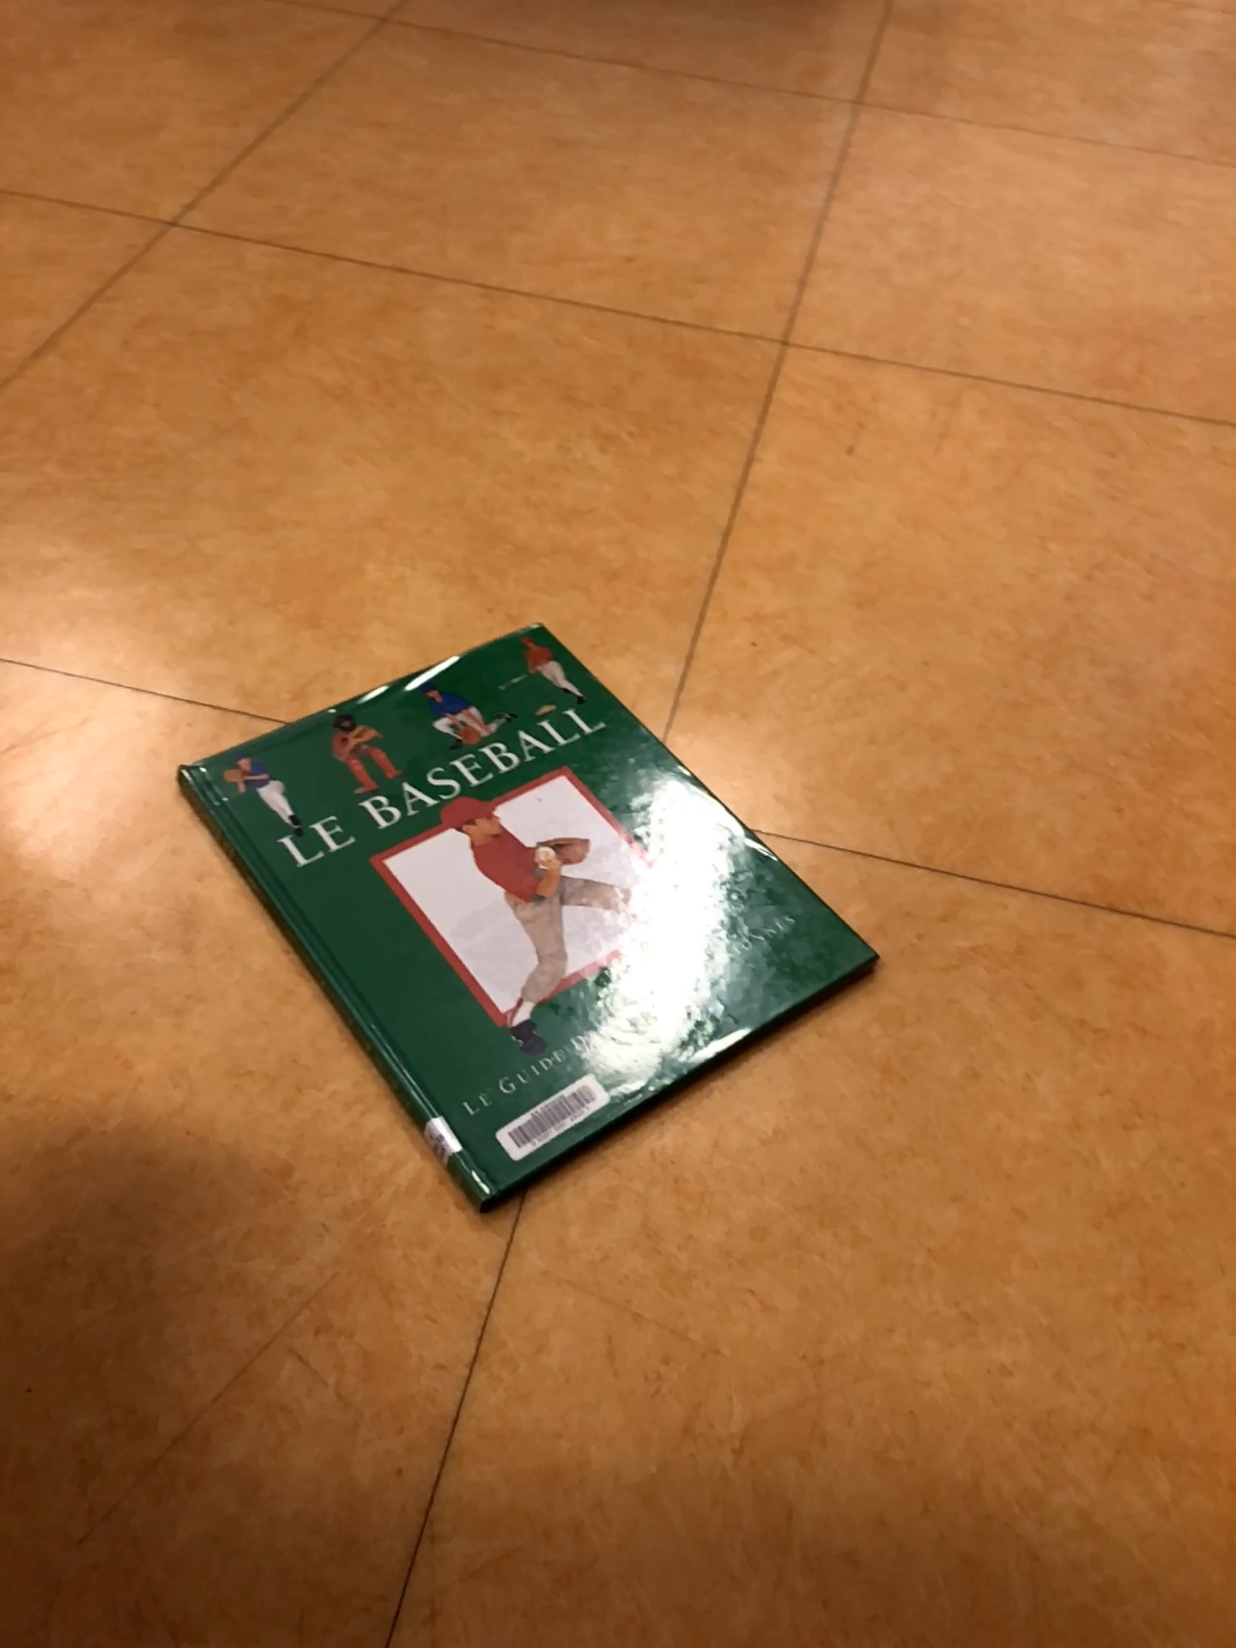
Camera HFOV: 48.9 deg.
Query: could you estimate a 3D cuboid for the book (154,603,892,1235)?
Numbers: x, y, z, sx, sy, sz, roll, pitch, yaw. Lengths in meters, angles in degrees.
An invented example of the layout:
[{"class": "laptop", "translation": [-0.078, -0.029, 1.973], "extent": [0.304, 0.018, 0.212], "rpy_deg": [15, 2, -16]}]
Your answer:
[{"class": "book", "translation": [-0.050, 0.018, 0.630], "extent": [0.220, 0.020, 0.280], "rpy_deg": [-26, 56, -27]}]
